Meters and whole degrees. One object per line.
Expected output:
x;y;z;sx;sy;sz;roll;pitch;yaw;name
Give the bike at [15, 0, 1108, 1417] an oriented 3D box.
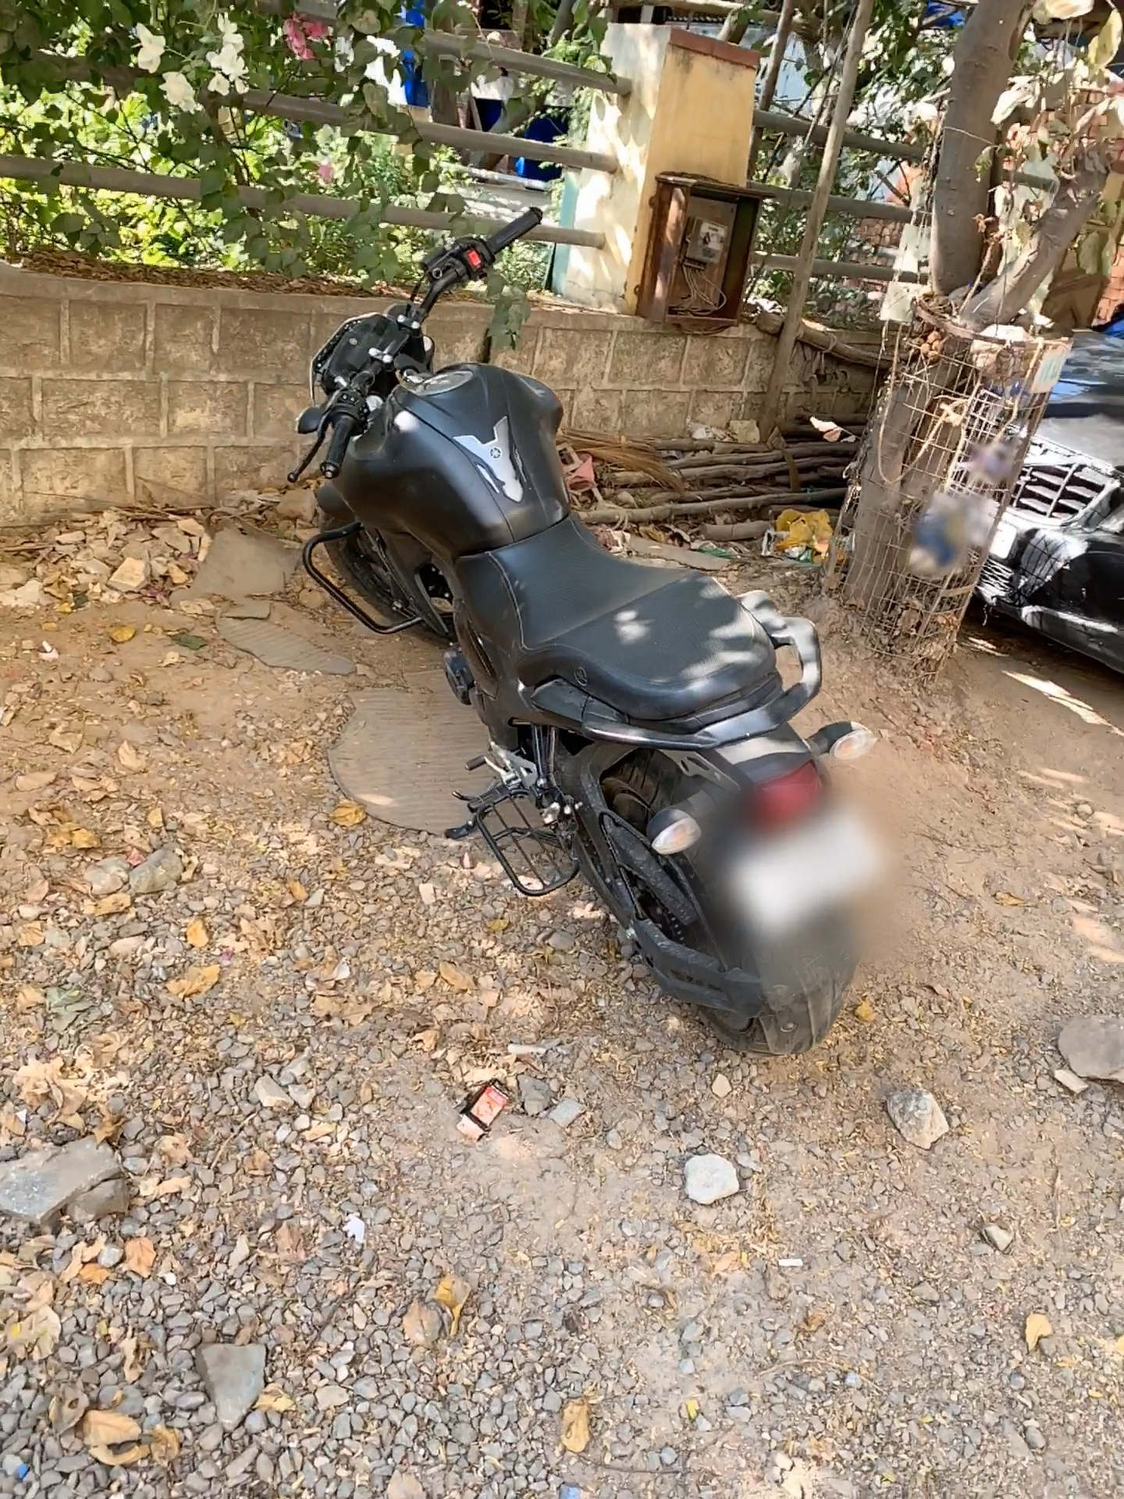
-0.276;-0.282;2.044;0.820;1.499;1.760;-9;36;-35;bike
